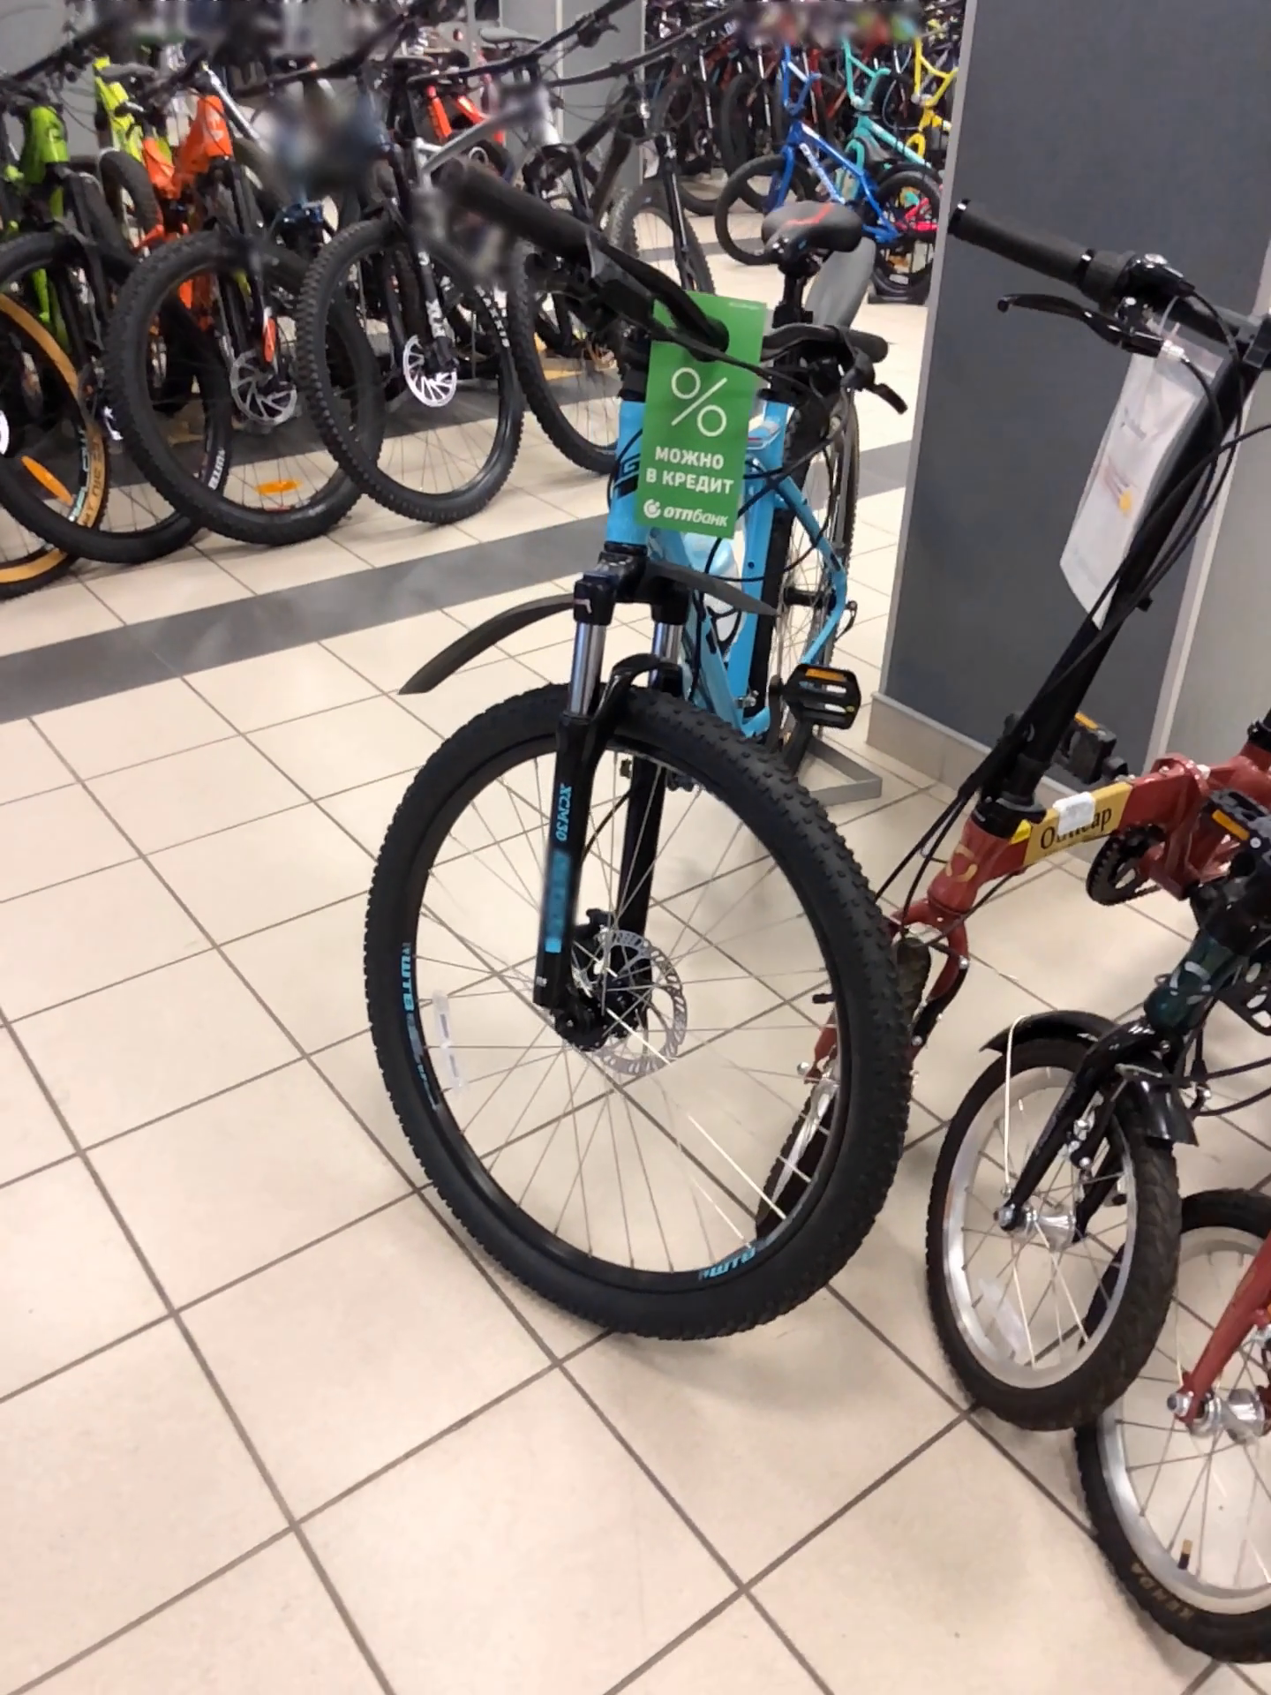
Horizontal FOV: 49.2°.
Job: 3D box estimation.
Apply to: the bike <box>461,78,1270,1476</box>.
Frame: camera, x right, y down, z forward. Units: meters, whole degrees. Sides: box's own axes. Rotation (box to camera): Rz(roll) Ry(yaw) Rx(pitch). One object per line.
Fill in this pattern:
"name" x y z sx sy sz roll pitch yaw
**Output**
"bike" 0.277 -0.322 1.857 0.691 1.084 1.619 4 33 5
